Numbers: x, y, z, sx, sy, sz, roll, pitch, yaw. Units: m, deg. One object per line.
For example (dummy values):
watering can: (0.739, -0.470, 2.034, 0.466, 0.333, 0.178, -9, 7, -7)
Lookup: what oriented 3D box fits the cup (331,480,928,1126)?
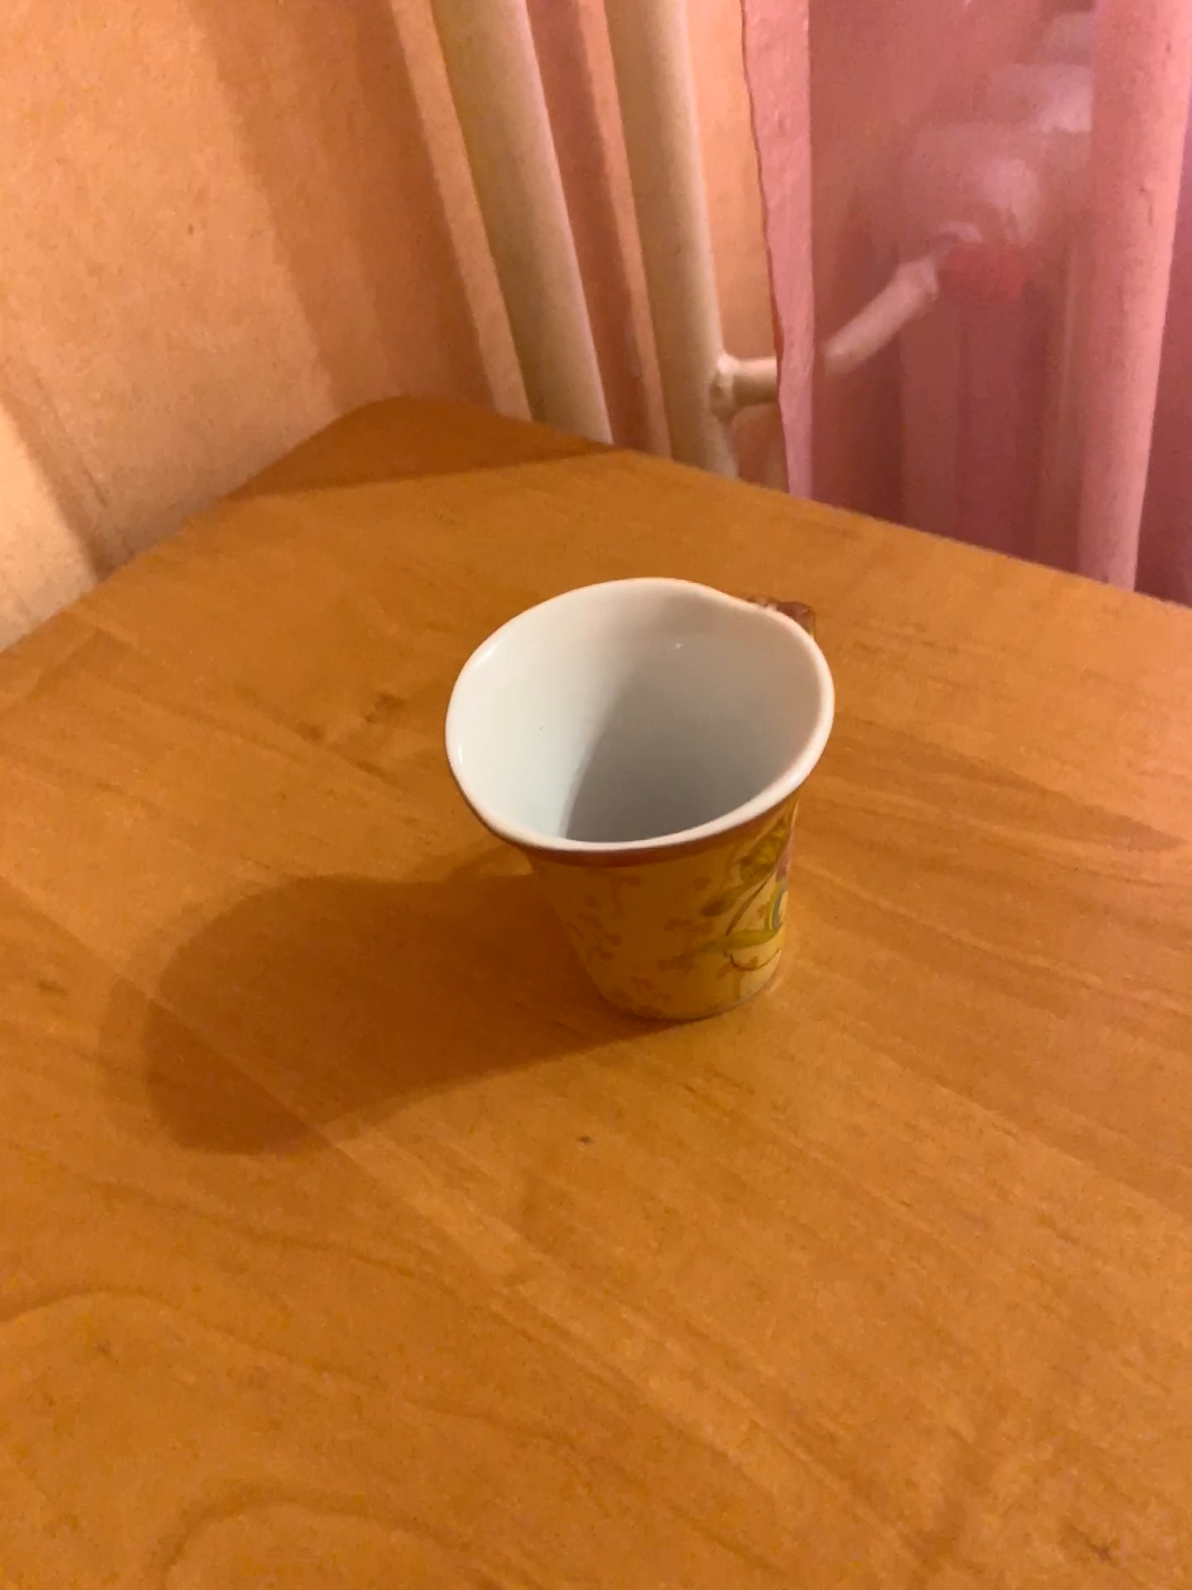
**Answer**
cup: (0.014, -0.004, 0.236, 0.072, 0.061, 0.094, 13, 51, 26)
